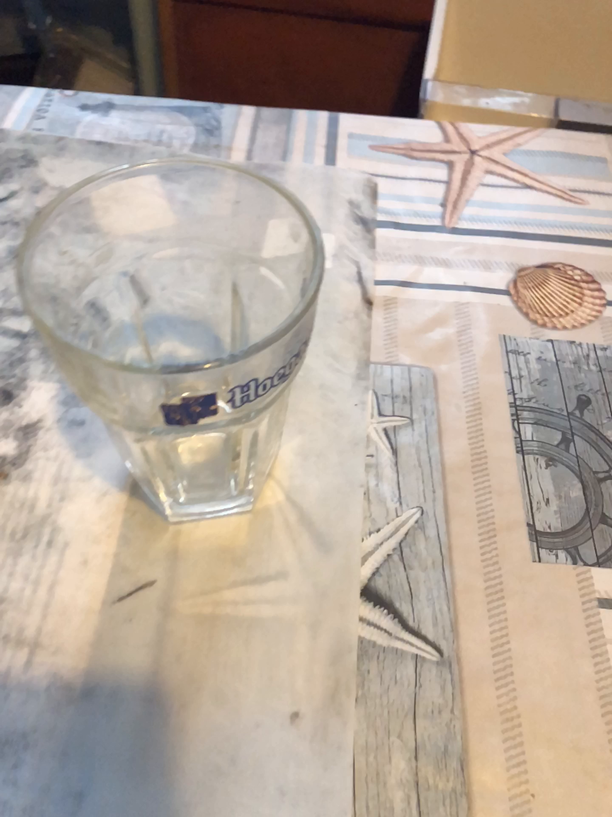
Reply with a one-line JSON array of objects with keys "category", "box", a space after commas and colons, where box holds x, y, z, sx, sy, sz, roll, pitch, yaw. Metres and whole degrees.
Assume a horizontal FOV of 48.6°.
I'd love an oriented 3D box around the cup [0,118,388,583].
[{"category": "cup", "box": [-0.041, -0.017, 0.265, 0.098, 0.123, 0.099, 1, 58, -2]}]
